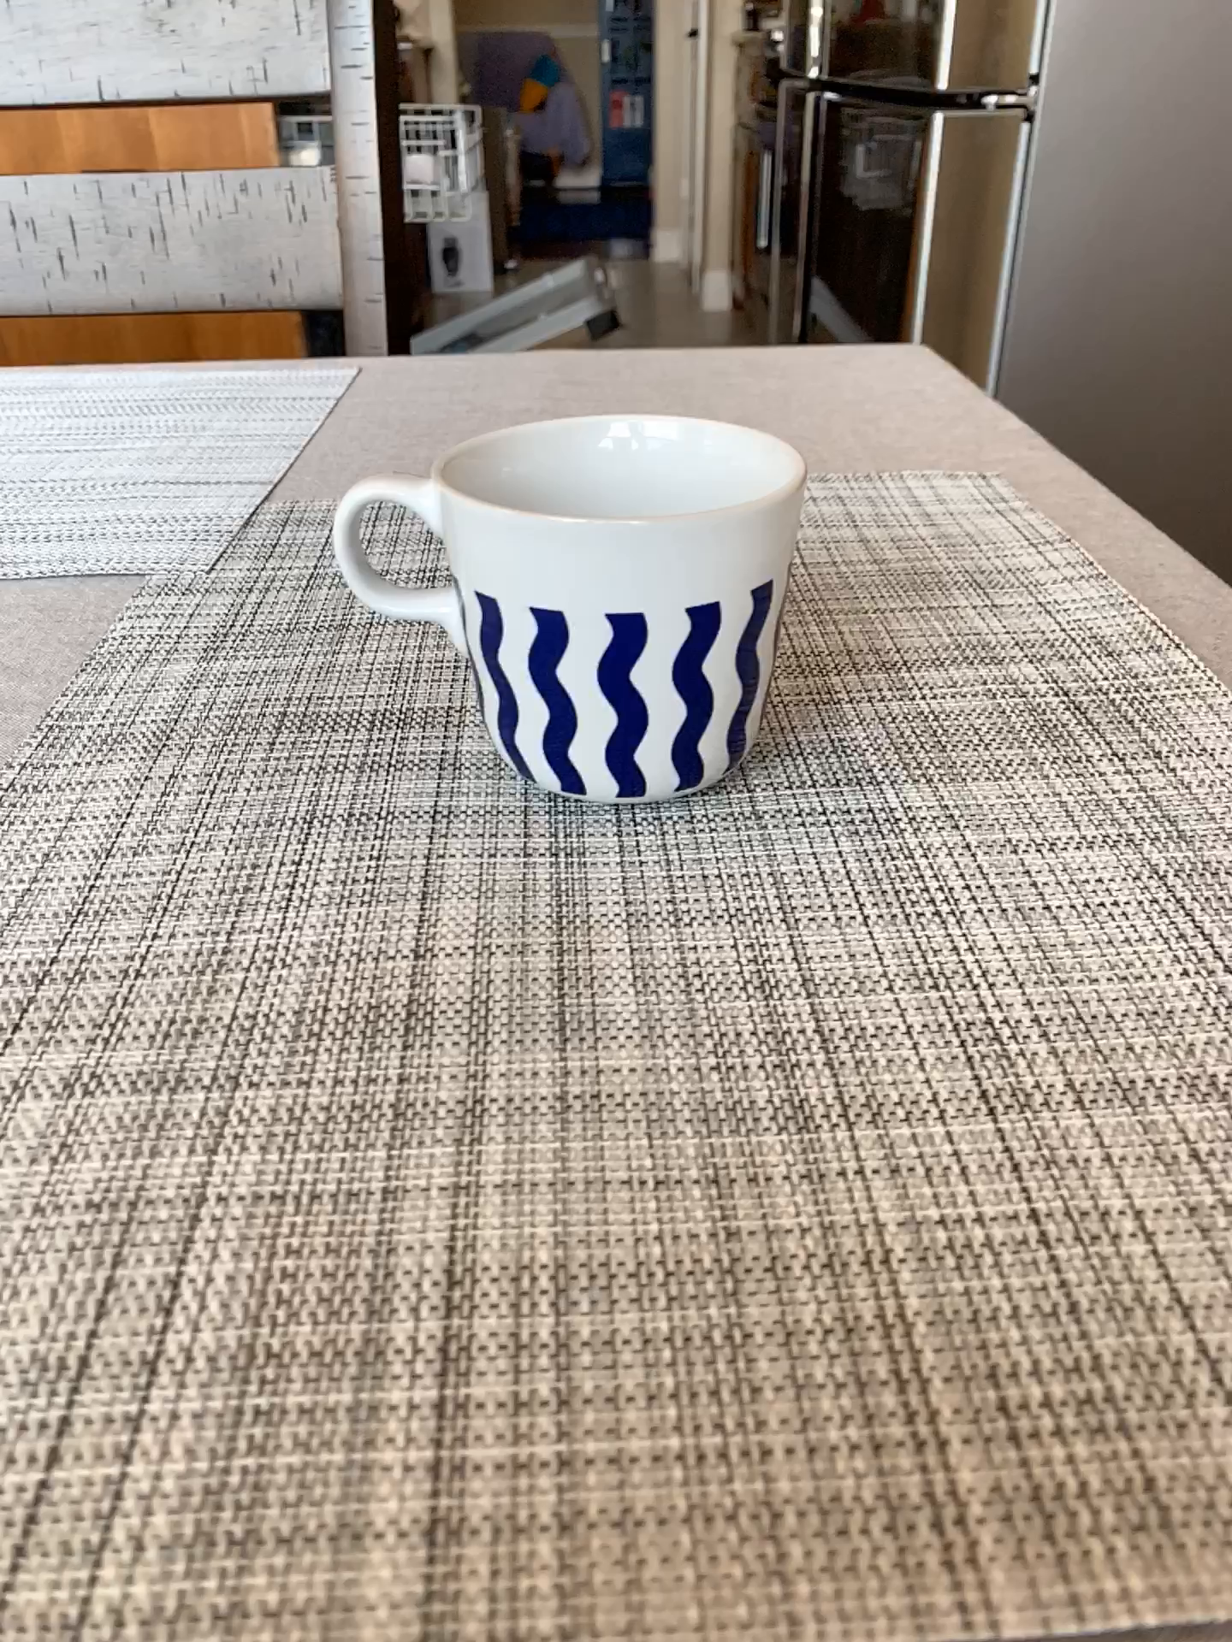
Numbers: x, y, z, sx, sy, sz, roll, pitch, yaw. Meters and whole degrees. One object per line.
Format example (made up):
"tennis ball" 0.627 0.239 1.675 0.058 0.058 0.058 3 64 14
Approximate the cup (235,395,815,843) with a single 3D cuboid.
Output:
"cup" -0.015 -0.054 0.310 0.112 0.072 0.087 6 32 12
